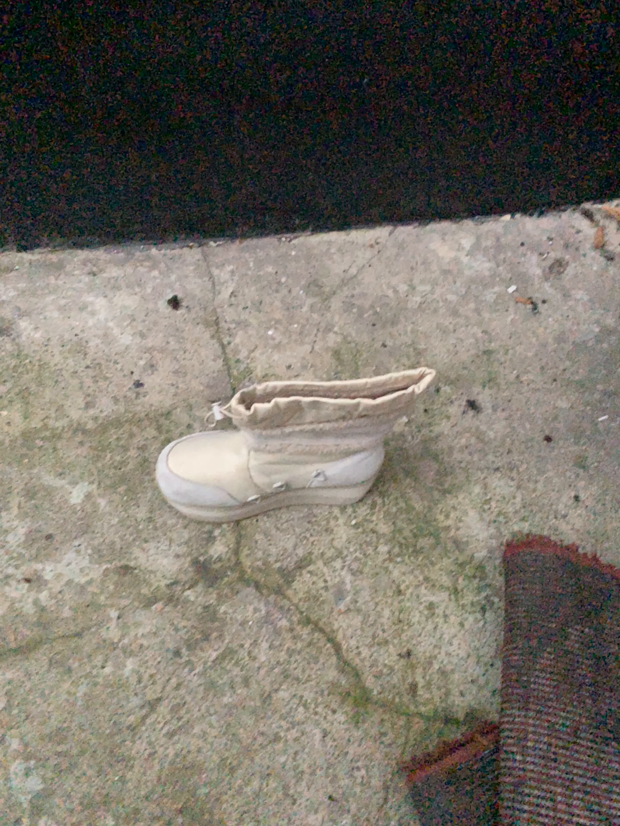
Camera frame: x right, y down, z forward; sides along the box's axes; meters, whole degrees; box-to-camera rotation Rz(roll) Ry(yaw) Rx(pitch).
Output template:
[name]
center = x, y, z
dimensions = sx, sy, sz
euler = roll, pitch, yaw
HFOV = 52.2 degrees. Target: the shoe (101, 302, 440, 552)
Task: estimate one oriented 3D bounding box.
[shoe]
center = -0.040, 0.033, 0.668
dimensions = 0.270, 0.308, 0.121
euler = -3, 61, -5
